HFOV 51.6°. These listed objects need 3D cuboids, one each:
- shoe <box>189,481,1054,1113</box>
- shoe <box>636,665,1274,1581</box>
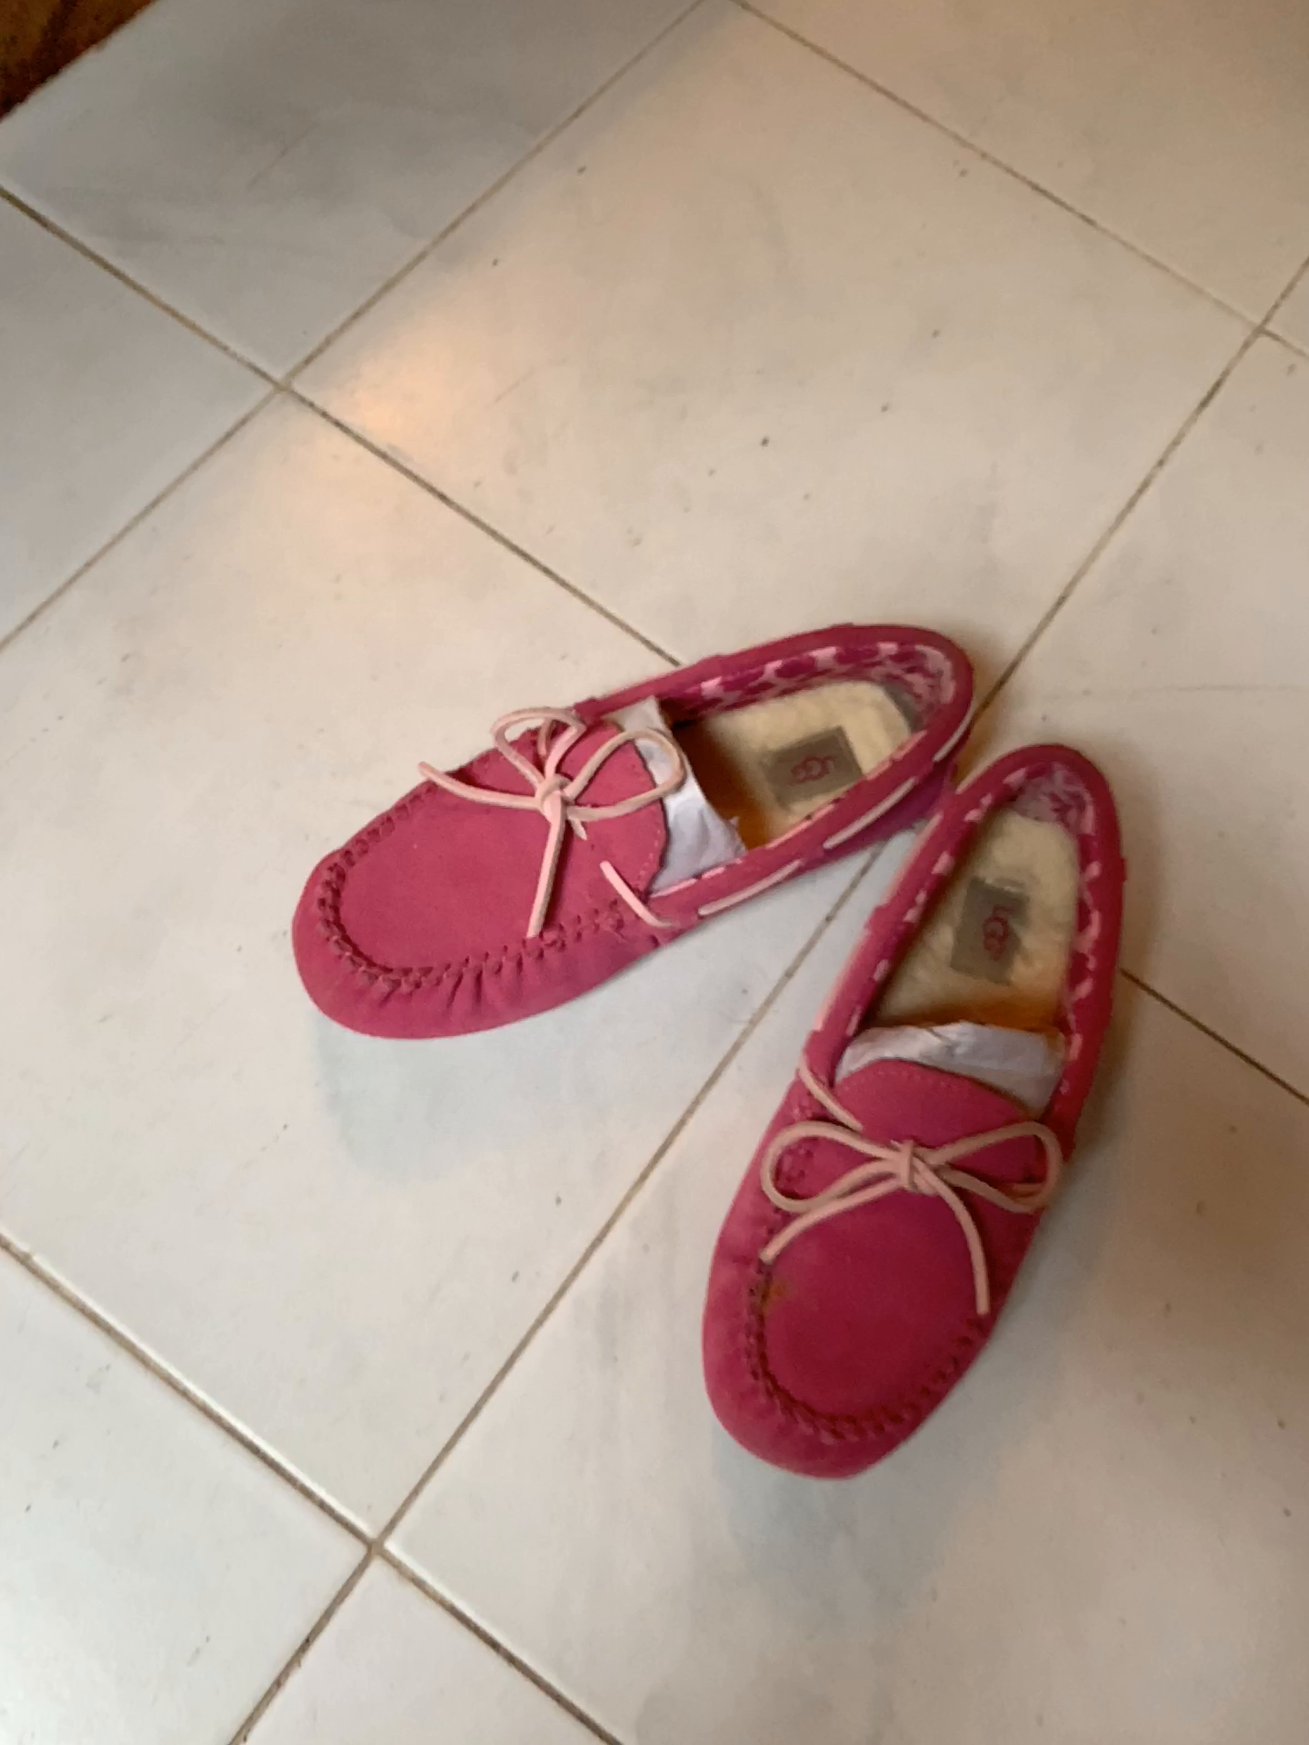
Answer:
[{"bbox_3d":[-0.008,-0.023,0.420,0.227,0.084,0.090,-24,75,-13],"label":"shoe"},{"bbox_3d":[0.088,0.067,0.401,0.090,0.084,0.227,26,70,4],"label":"shoe"}]
